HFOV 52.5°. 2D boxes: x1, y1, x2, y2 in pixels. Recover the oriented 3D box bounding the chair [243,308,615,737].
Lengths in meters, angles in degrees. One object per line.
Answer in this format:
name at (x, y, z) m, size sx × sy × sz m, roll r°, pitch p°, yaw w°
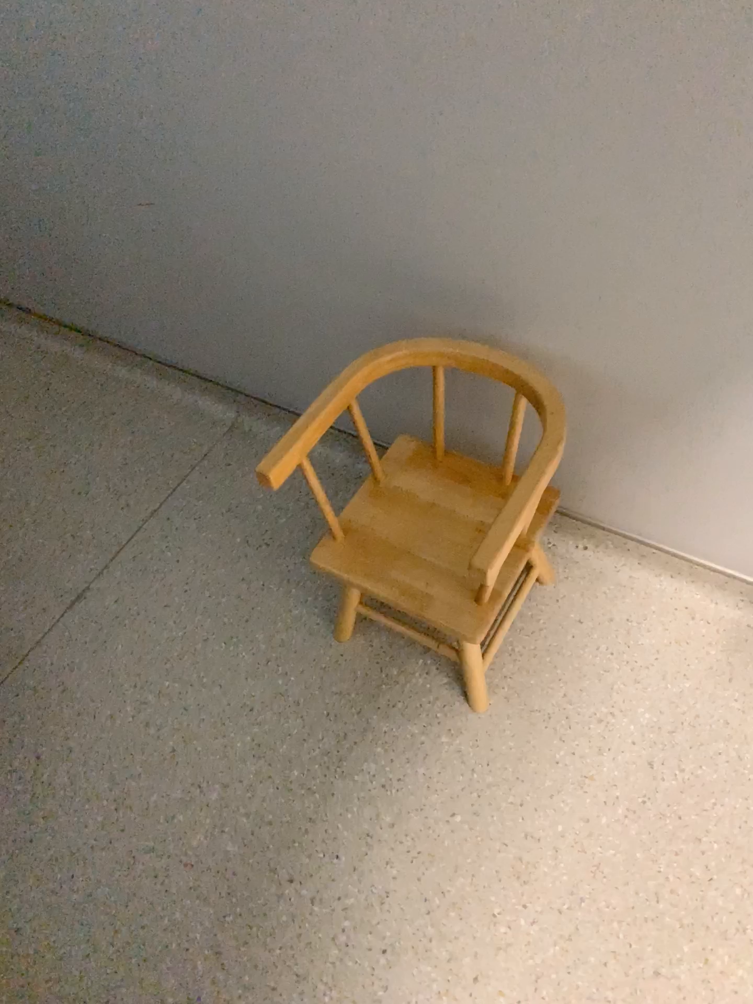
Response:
chair at (0.102, 0.041, 1.189) m, size 0.362 × 0.481 × 0.344 m, roll 25°, pitch 60°, yaw 26°
